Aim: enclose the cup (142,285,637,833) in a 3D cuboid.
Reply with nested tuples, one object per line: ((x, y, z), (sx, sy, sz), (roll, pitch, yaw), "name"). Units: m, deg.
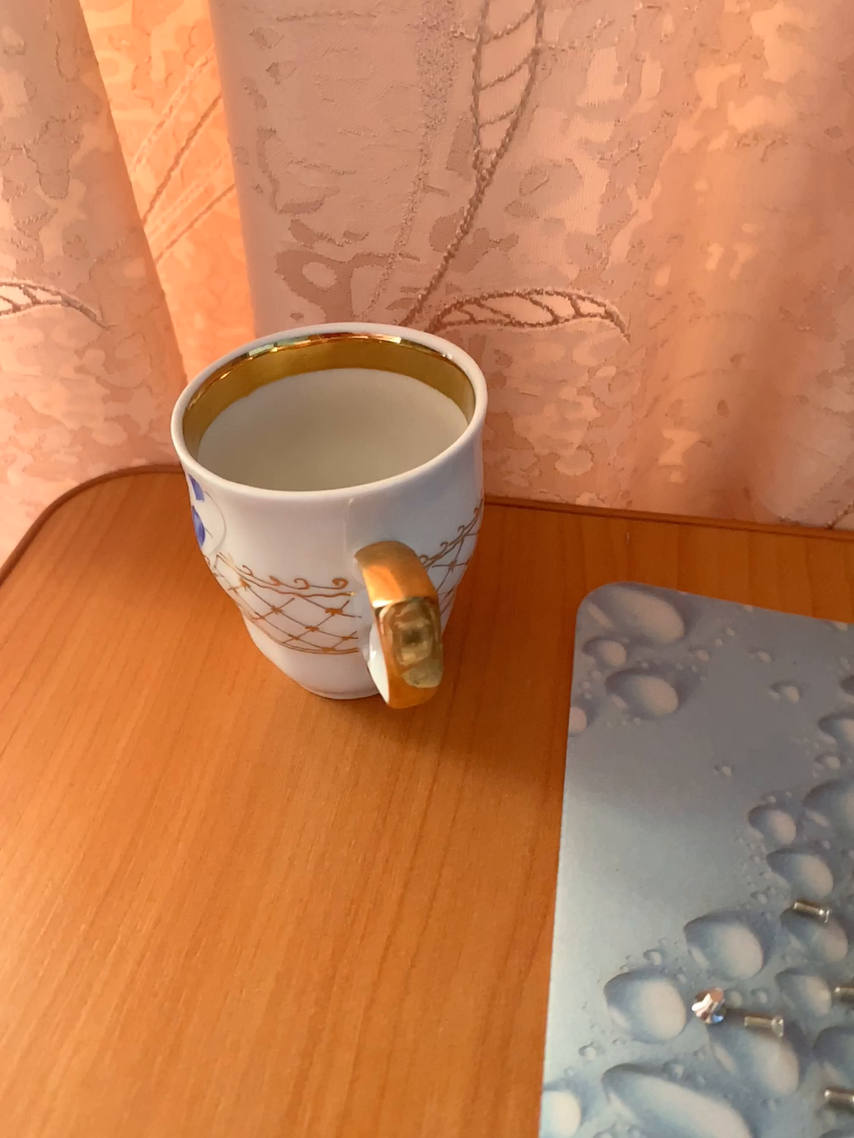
((-0.011, -0.008, 0.177), (0.059, 0.055, 0.083), (-19, 46, -18), "cup")
